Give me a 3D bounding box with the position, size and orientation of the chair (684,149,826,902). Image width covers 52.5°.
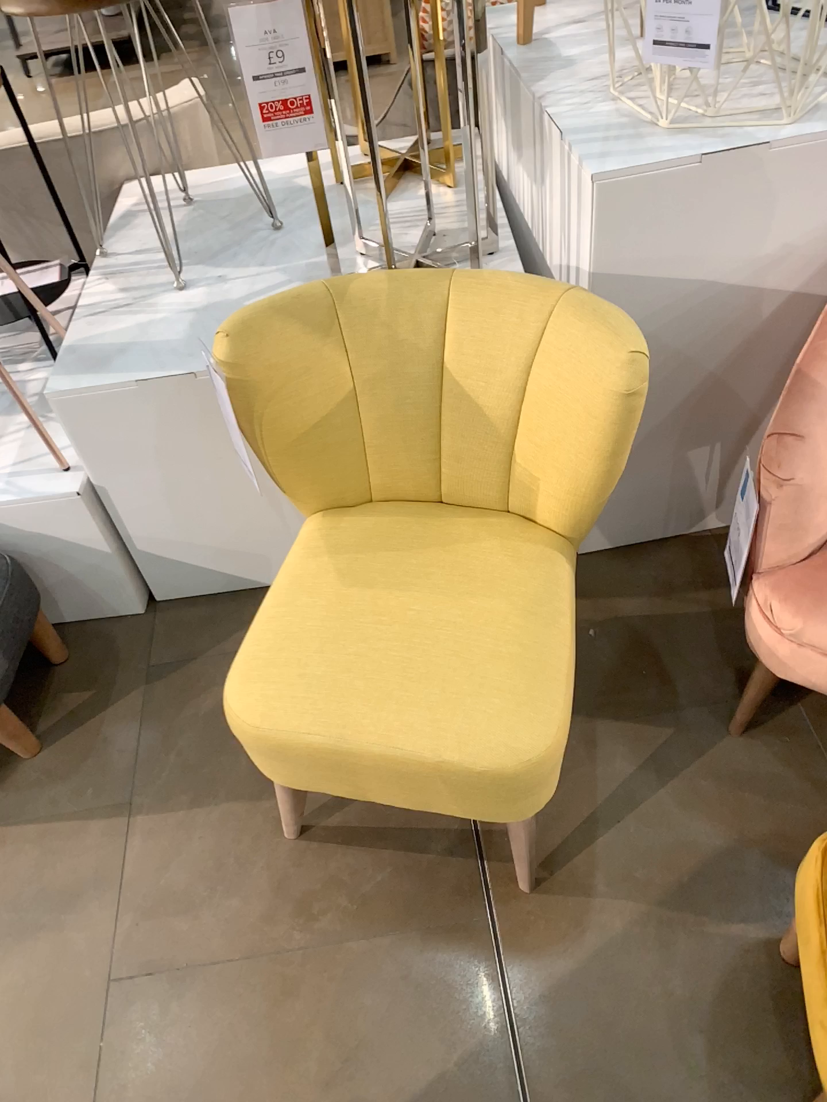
[{"bbox_3d":[0.826,-0.046,1.211,0.618,0.765,0.589,17,52,24],"label":"chair"}]

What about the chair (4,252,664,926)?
[{"bbox_3d":[-0.007,0.045,1.216,0.607,0.696,0.590,7,48,17],"label":"chair"}]
